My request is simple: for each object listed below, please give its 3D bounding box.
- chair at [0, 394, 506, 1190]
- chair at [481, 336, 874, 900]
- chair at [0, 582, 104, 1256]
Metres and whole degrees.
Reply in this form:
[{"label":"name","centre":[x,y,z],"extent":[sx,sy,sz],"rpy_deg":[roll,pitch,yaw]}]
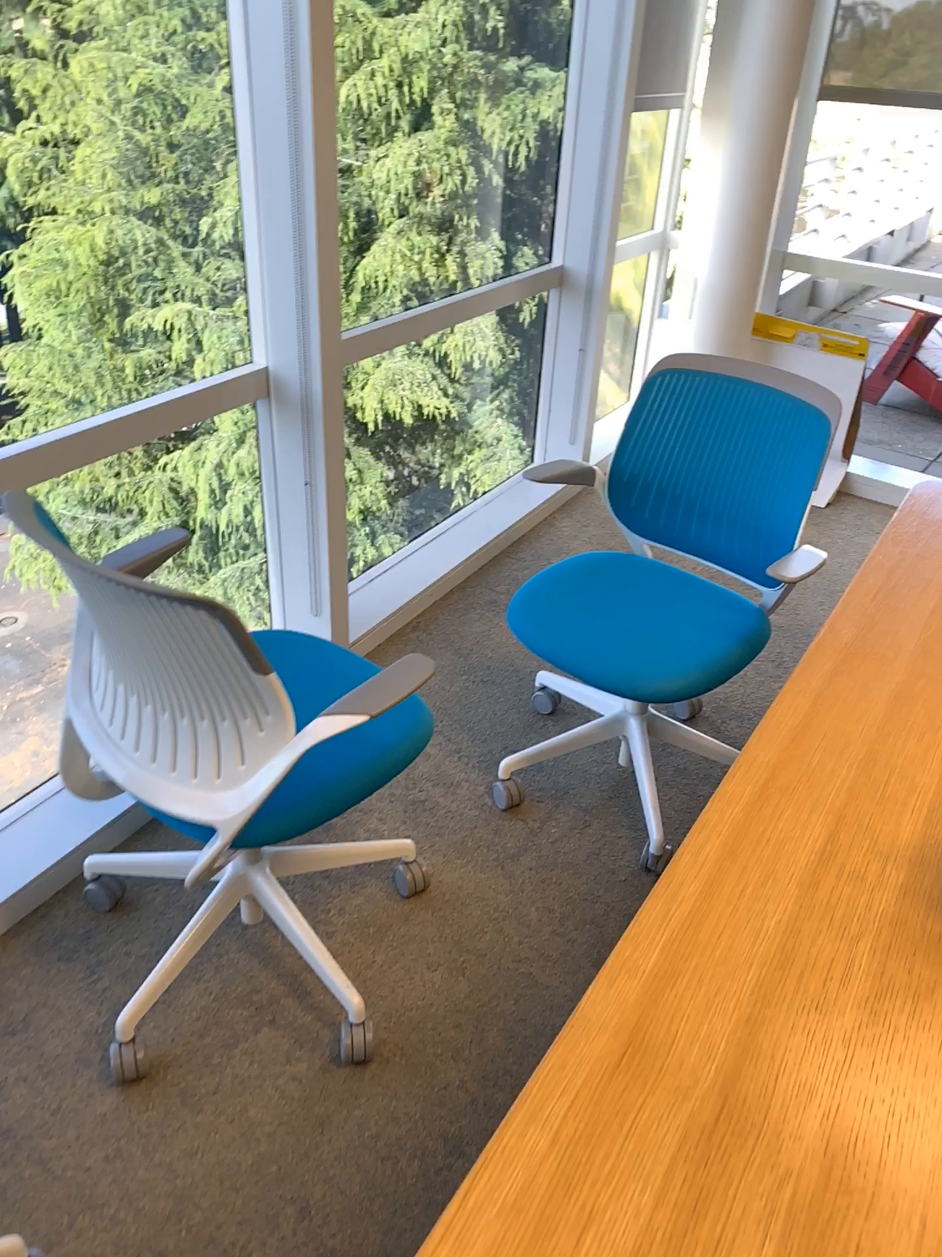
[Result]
[{"label":"chair","centre":[-0.409,0.242,1.657],"extent":[0.651,1.014,0.642],"rpy_deg":[18,35,22]},{"label":"chair","centre":[0.461,-0.044,2.336],"extent":[0.542,1.094,0.632],"rpy_deg":[24,38,30]},{"label":"chair","centre":[-1.128,0.690,1.159],"extent":[0.871,1.133,0.734],"rpy_deg":[12,33,13]}]
